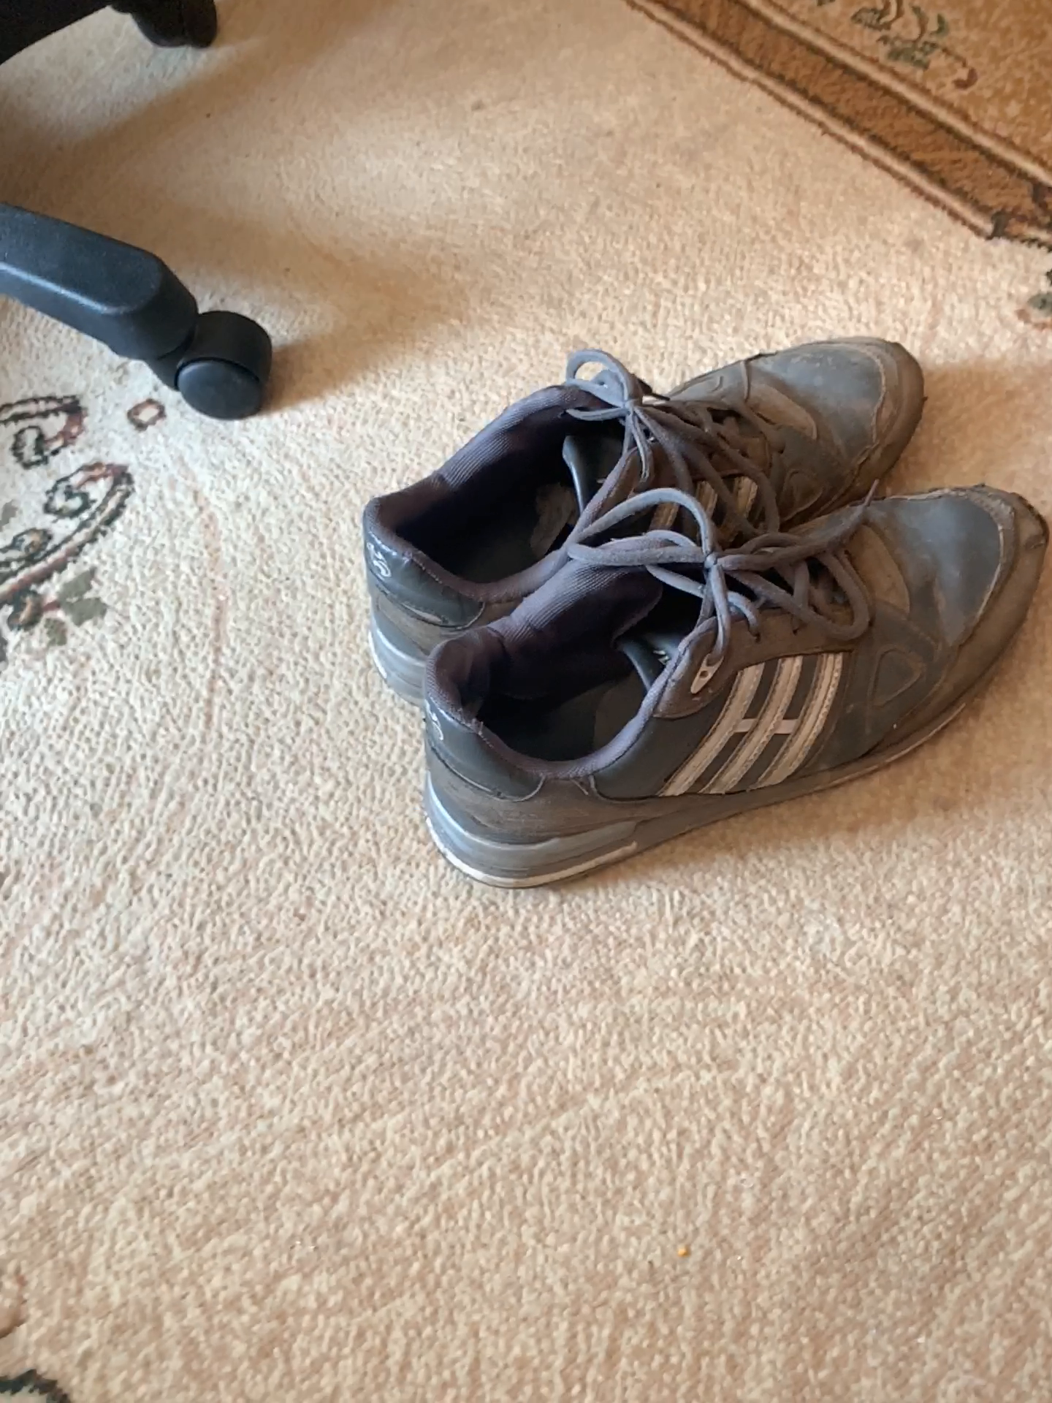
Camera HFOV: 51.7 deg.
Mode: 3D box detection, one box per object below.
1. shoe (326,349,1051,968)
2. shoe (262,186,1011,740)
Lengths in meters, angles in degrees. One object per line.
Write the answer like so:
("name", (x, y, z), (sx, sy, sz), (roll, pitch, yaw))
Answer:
("shoe", (0.091, -0.016, 0.463), (0.313, 0.099, 0.117), (-24, 62, -3))
("shoe", (0.049, -0.114, 0.526), (0.310, 0.099, 0.121), (-24, 62, -3))
